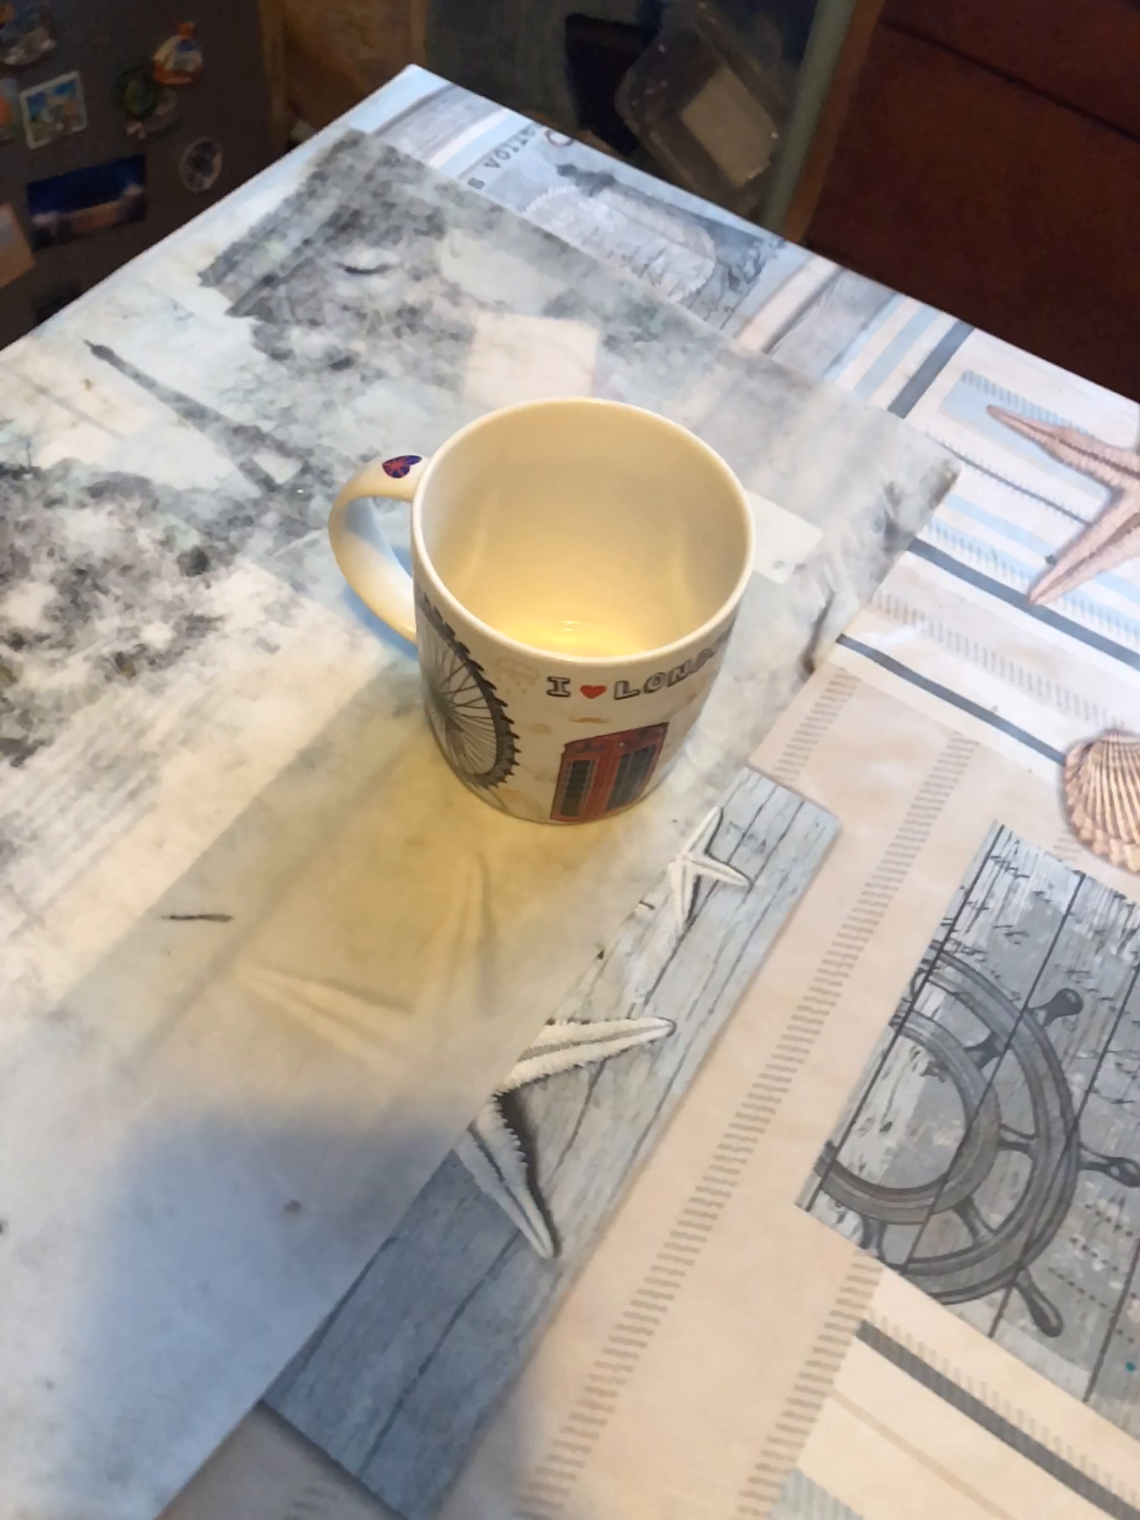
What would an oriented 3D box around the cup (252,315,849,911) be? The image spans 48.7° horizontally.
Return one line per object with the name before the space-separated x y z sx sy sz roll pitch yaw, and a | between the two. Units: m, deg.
cup | -0.007 -0.040 0.343 0.121 0.086 0.085 28 56 11
